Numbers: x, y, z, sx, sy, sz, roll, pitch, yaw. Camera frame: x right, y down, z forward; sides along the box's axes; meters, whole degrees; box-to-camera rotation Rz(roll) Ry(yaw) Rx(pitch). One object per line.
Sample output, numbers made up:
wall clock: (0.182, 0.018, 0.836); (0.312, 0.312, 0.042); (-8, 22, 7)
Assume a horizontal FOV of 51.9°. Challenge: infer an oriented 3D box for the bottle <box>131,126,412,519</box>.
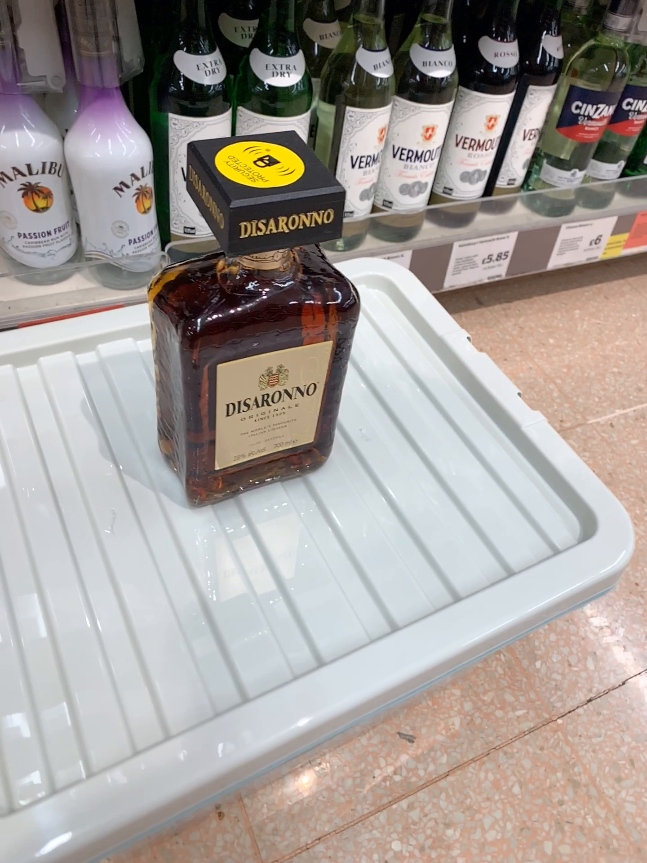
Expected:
bottle: (-0.038, -0.052, 0.383); (0.111, 0.208, 0.070); (-16, 54, -23)
